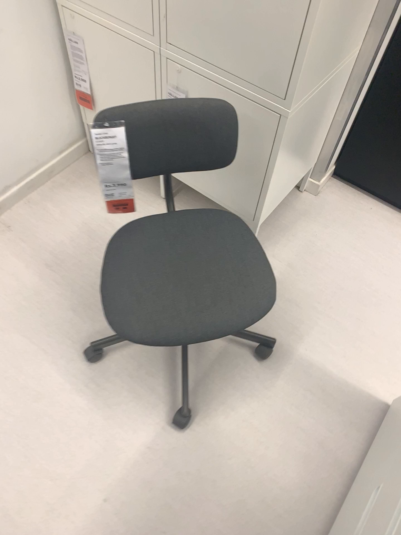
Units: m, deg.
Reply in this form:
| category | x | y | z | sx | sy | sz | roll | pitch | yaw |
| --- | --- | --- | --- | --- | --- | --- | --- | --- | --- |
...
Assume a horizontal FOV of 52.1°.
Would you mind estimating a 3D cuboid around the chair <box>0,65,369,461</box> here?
| category | x | y | z | sx | sy | sz | roll | pitch | yaw |
| --- | --- | --- | --- | --- | --- | --- | --- | --- | --- |
| chair | -0.046 | 0.013 | 1.176 | 0.720 | 0.678 | 0.711 | 17 | 58 | 7 |
